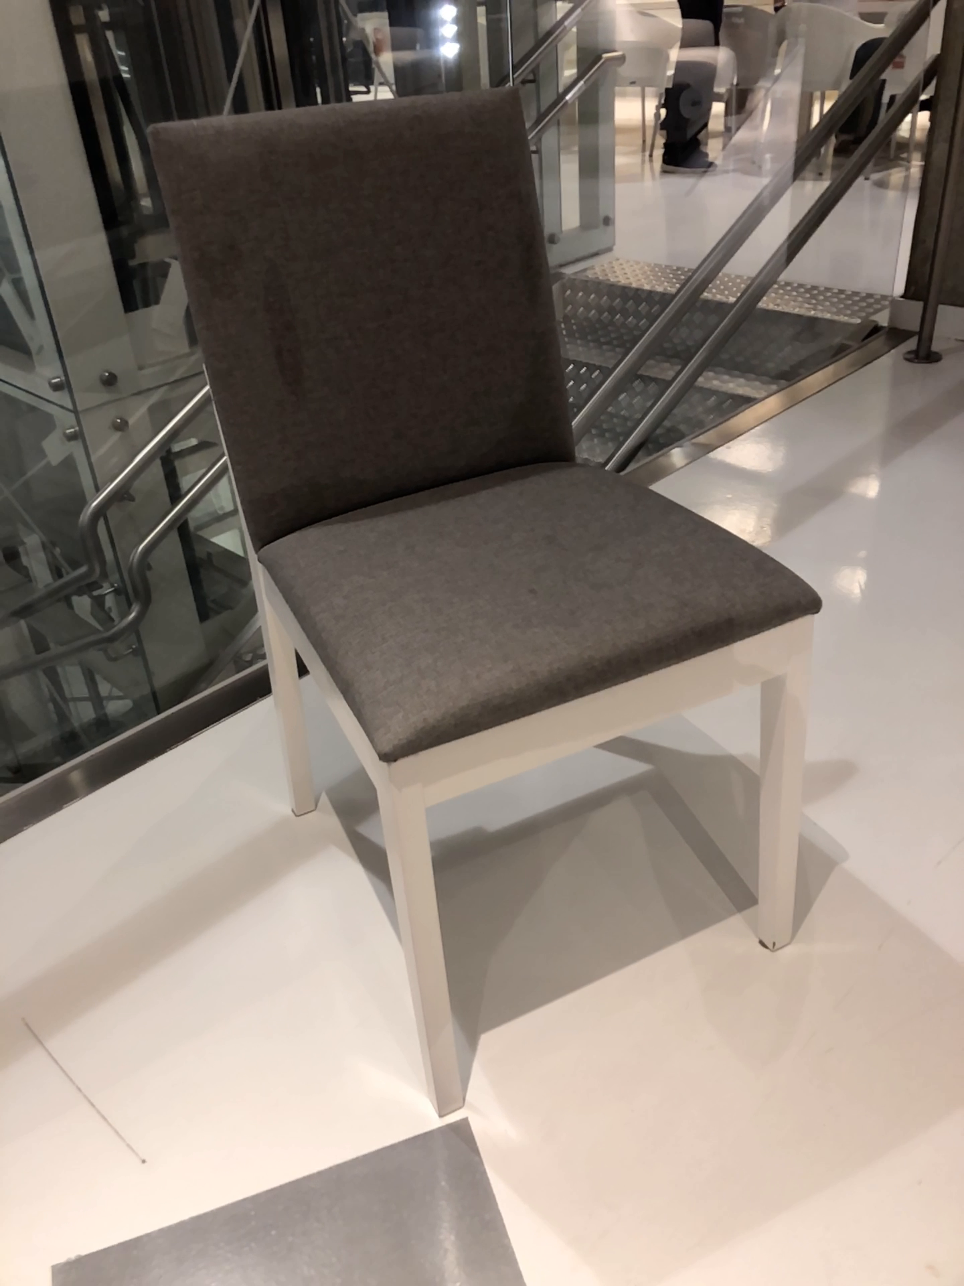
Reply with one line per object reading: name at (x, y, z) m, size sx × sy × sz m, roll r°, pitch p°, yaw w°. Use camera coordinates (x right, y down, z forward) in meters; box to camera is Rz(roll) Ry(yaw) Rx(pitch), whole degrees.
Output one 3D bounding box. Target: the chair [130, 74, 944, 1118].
chair at (0.022, -0.090, 1.115) m, size 0.481 × 0.843 × 0.564 m, roll -17°, pitch 34°, yaw -20°
